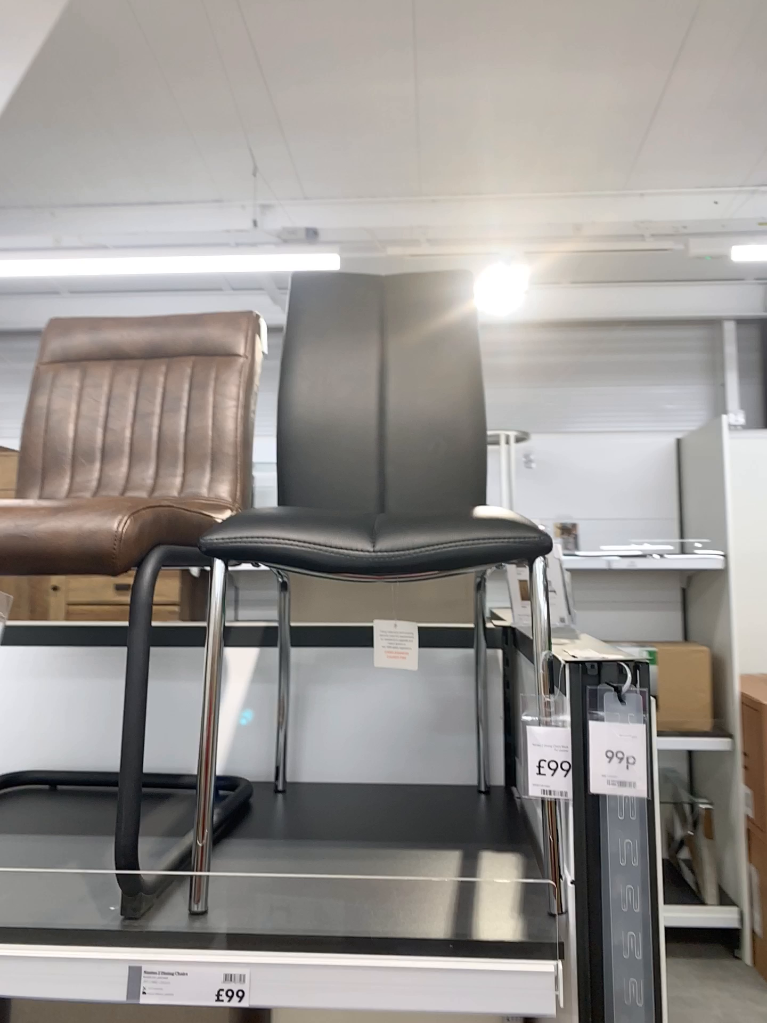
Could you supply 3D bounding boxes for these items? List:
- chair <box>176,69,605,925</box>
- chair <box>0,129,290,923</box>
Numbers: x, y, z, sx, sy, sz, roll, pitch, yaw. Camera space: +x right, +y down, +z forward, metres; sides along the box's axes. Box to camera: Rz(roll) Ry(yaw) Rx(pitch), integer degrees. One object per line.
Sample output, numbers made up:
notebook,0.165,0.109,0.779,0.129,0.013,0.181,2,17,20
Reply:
chair,0.017,-0.021,1.211,0.474,0.996,0.582,0,-5,2
chair,-0.482,0.018,1.194,0.554,0.886,0.582,-1,-5,6
